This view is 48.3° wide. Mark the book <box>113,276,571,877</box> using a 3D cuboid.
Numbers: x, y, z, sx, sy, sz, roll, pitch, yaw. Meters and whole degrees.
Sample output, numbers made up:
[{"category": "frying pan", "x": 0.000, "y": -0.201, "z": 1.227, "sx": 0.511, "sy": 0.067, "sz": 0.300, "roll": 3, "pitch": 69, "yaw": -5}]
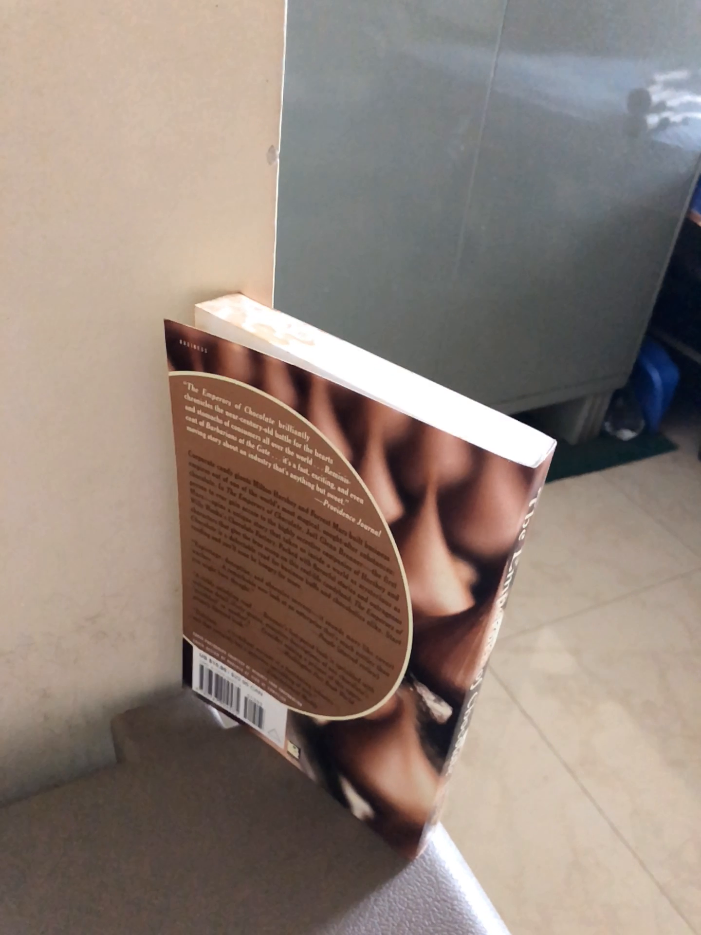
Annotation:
[{"category": "book", "x": -0.018, "y": 0.047, "z": 0.315, "sx": 0.160, "sy": 0.199, "sz": 0.040, "roll": 27, "pitch": 41, "yaw": 27}]
